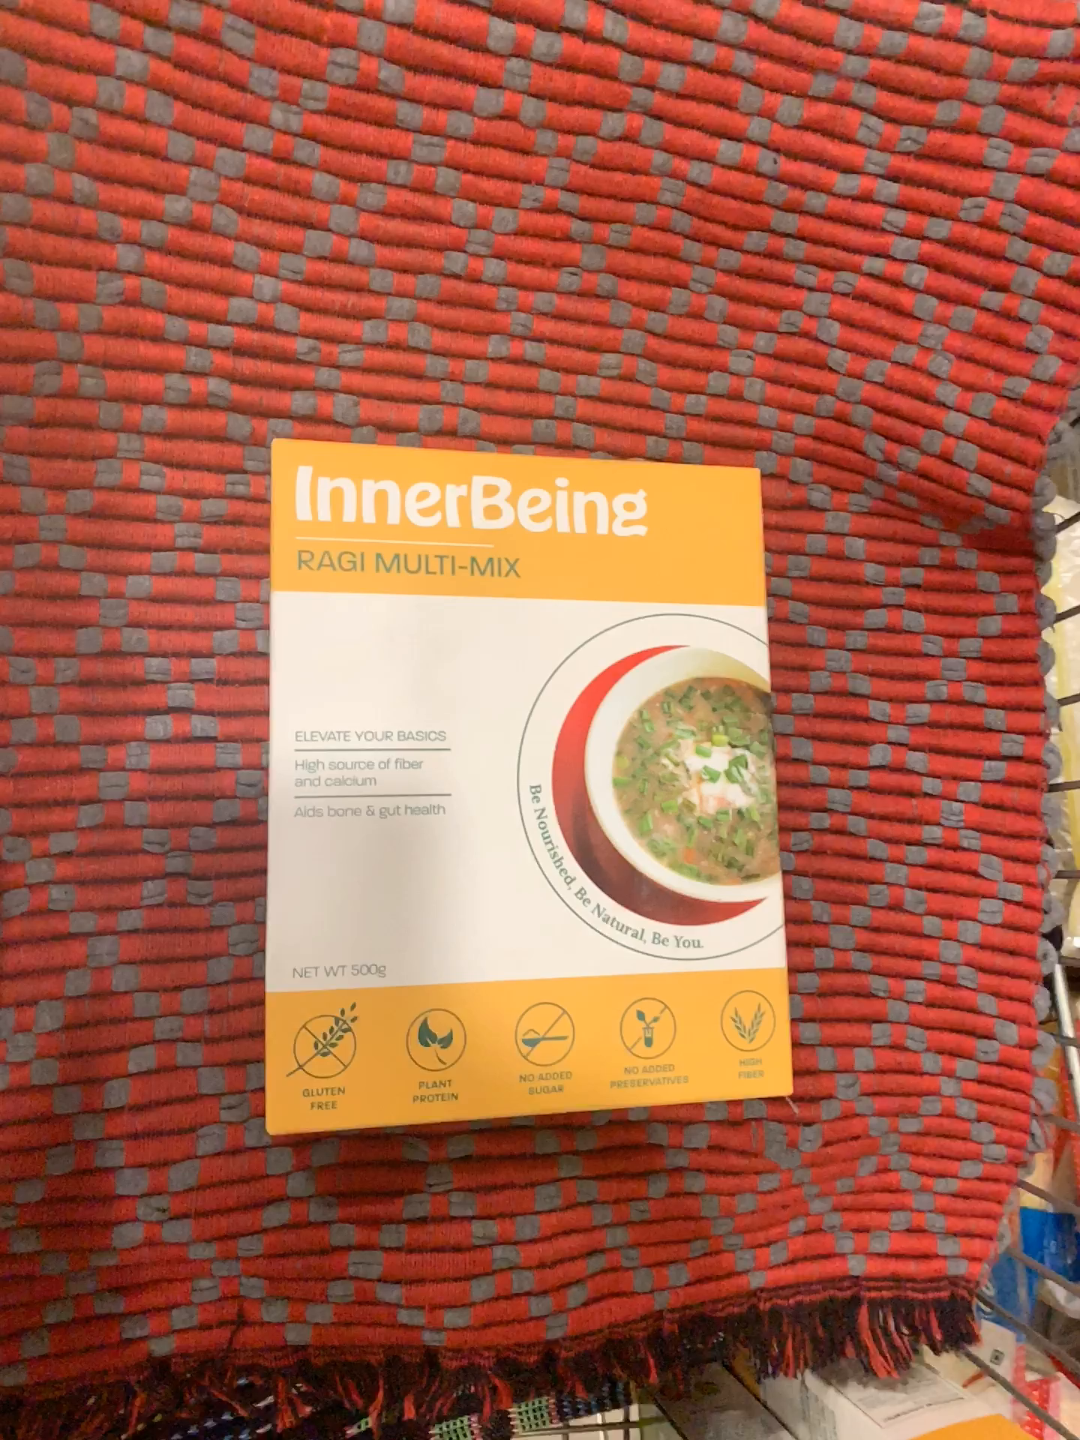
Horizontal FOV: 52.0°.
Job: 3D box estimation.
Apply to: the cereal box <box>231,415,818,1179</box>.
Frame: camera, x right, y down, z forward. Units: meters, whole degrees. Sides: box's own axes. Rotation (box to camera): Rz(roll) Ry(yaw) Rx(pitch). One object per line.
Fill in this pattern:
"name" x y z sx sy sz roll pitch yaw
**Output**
"cereal box" -0.010 0.020 0.326 0.150 0.070 0.190 0 81 -13
